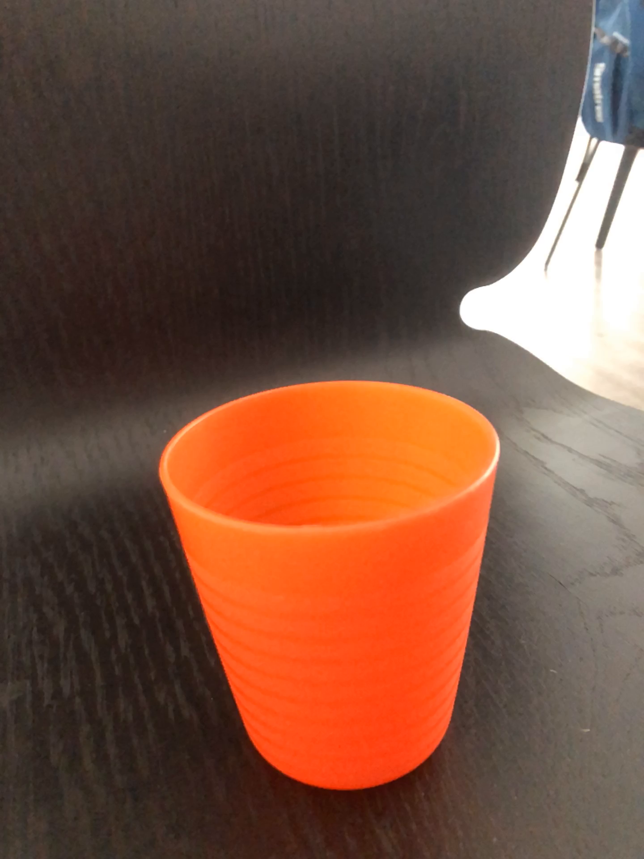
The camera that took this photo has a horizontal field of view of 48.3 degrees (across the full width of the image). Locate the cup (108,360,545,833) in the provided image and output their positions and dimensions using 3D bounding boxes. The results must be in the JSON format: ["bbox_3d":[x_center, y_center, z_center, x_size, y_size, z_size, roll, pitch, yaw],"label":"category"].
[{"bbox_3d":[0.000,0.037,0.185,0.080,0.080,0.080,-2,28,1],"label":"cup"}]
